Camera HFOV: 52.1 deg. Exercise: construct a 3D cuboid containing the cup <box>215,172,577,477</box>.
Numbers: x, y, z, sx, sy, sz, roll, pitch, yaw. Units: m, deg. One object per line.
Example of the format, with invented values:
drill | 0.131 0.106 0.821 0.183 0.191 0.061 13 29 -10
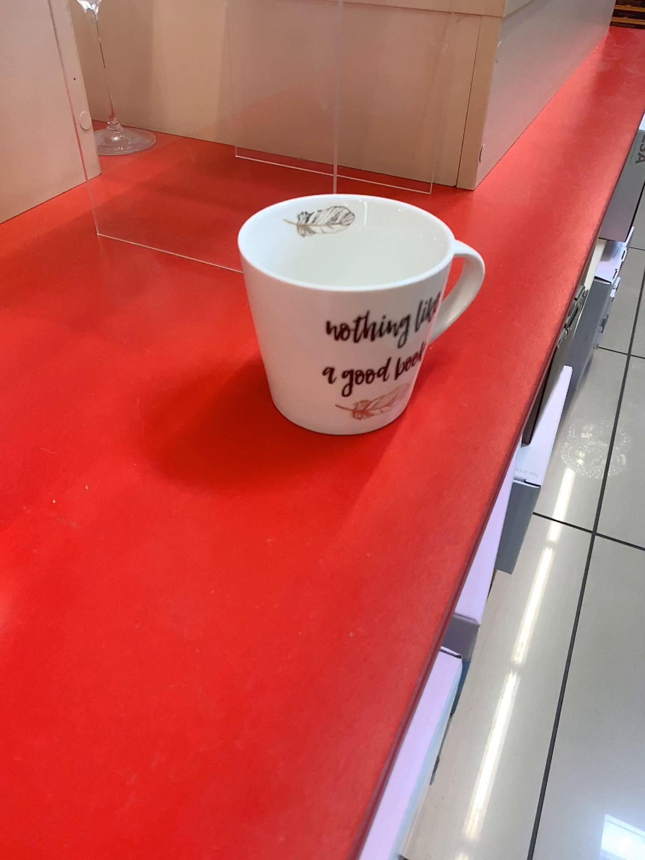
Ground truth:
cup | 0.028 -0.055 0.315 0.130 0.090 0.090 -14 42 -17
